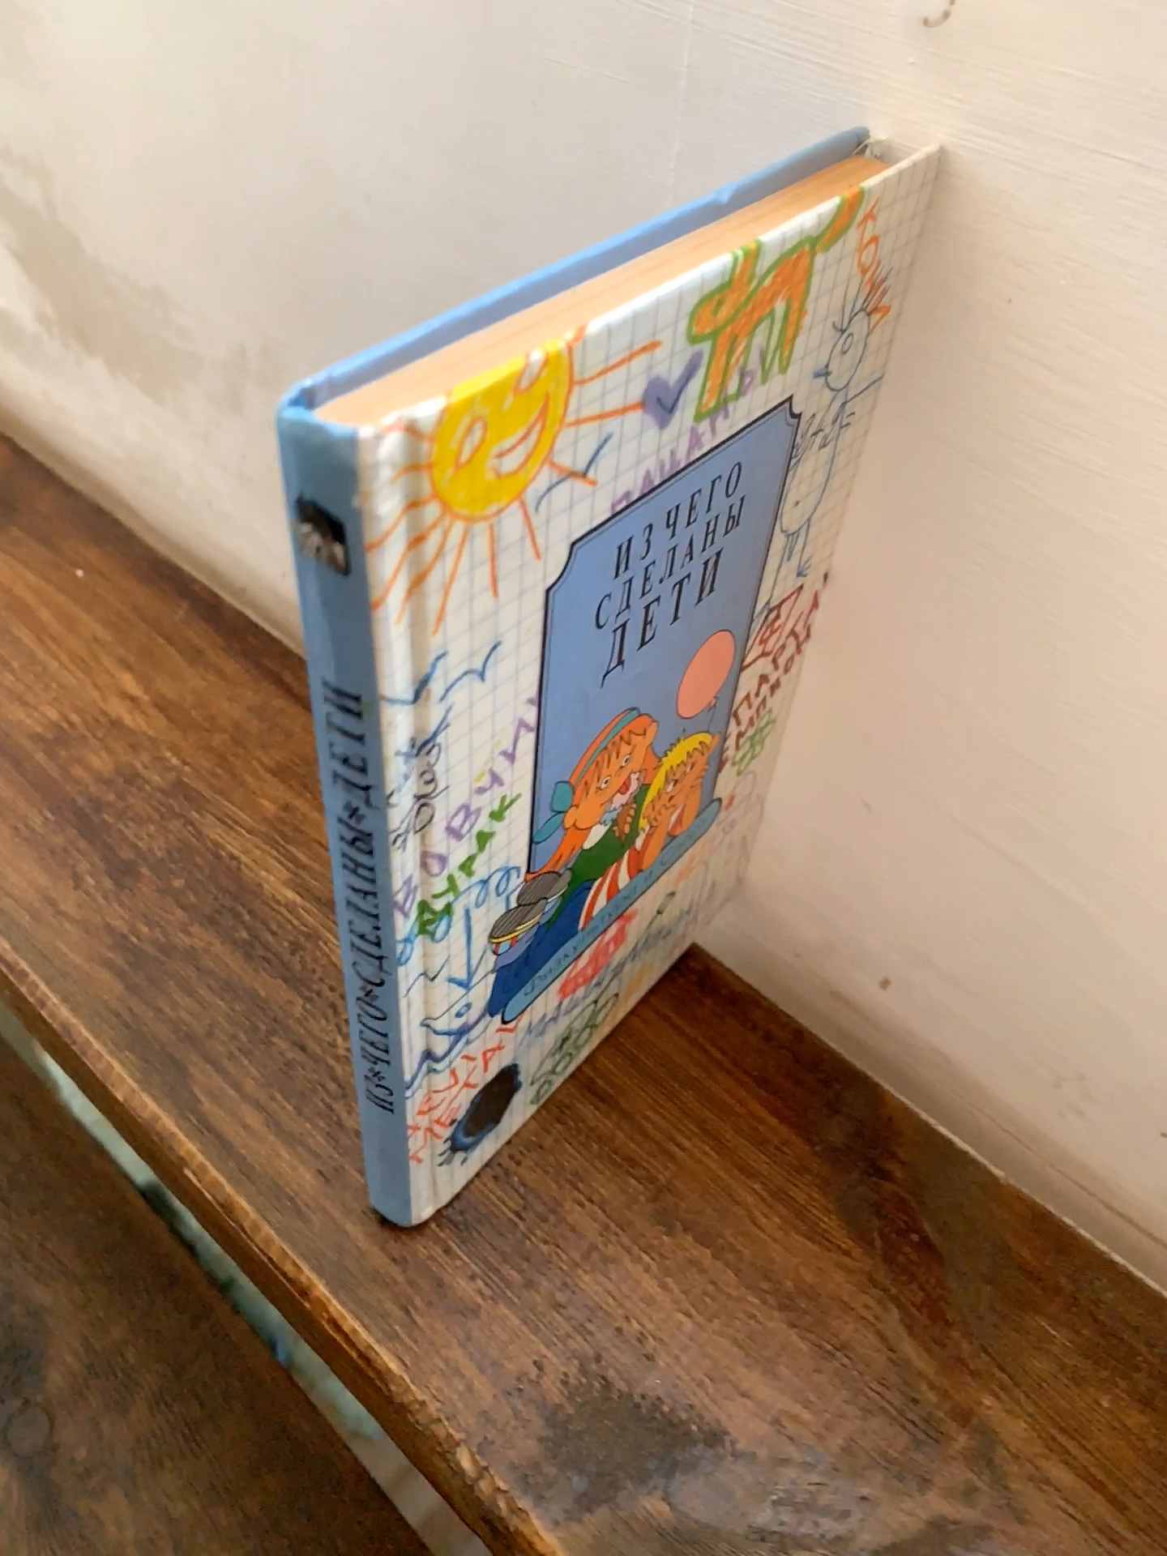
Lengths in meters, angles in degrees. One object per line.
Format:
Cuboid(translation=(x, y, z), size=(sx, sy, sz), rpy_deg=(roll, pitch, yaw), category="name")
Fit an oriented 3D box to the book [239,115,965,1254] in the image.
Cuboid(translation=(0.006, -0.005, 0.232), size=(0.020, 0.194, 0.131), rpy_deg=(33, 52, 24), category="book")
